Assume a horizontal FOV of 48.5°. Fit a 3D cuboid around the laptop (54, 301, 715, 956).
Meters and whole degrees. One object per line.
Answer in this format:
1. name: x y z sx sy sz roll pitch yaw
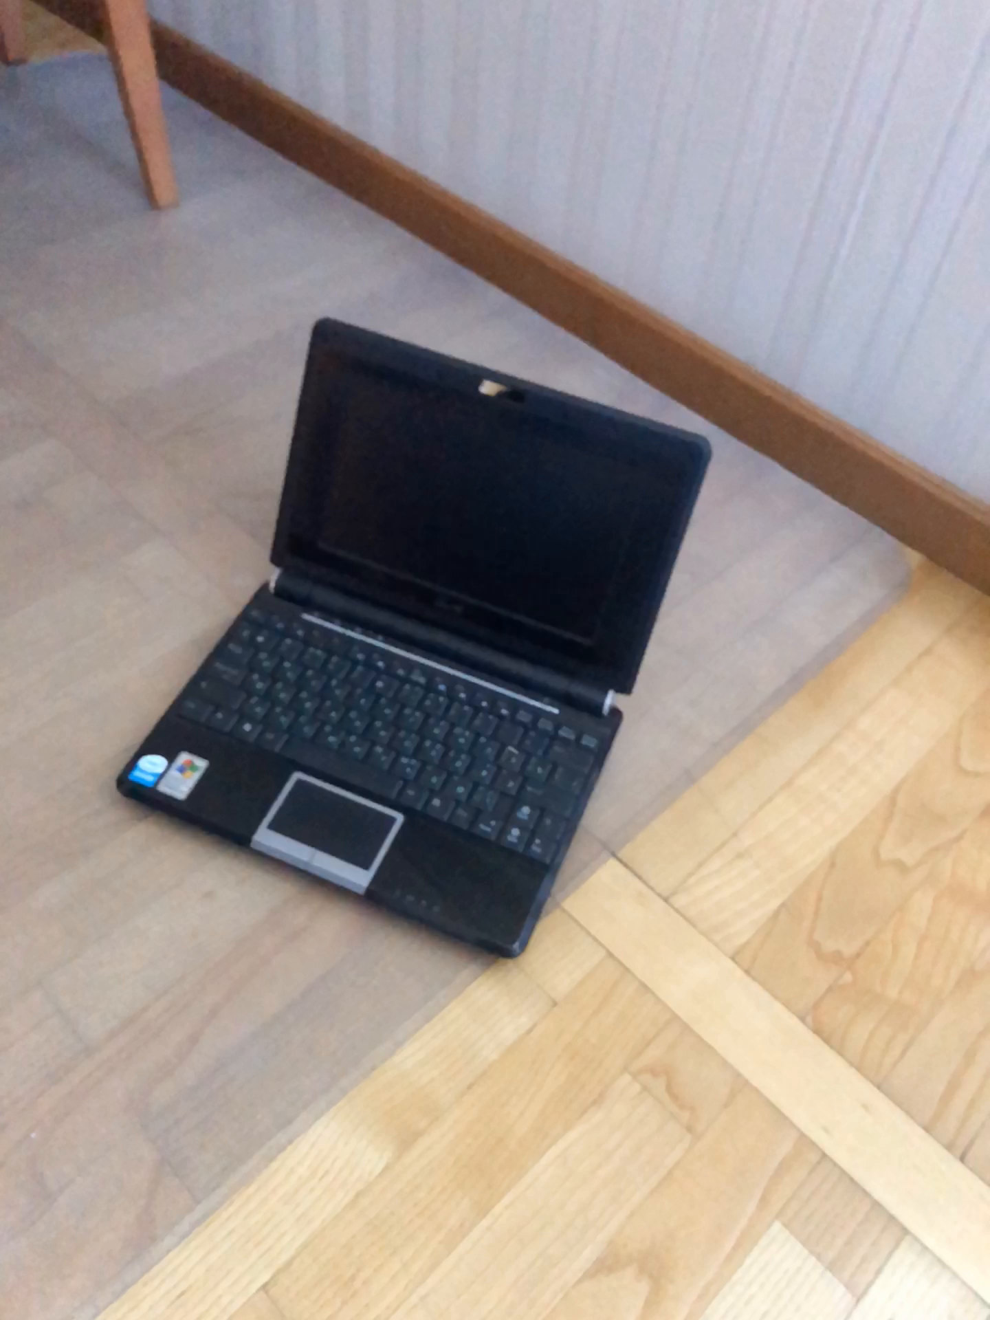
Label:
1. laptop: -0.050 -0.033 0.656 0.263 0.159 0.278 20 53 11
